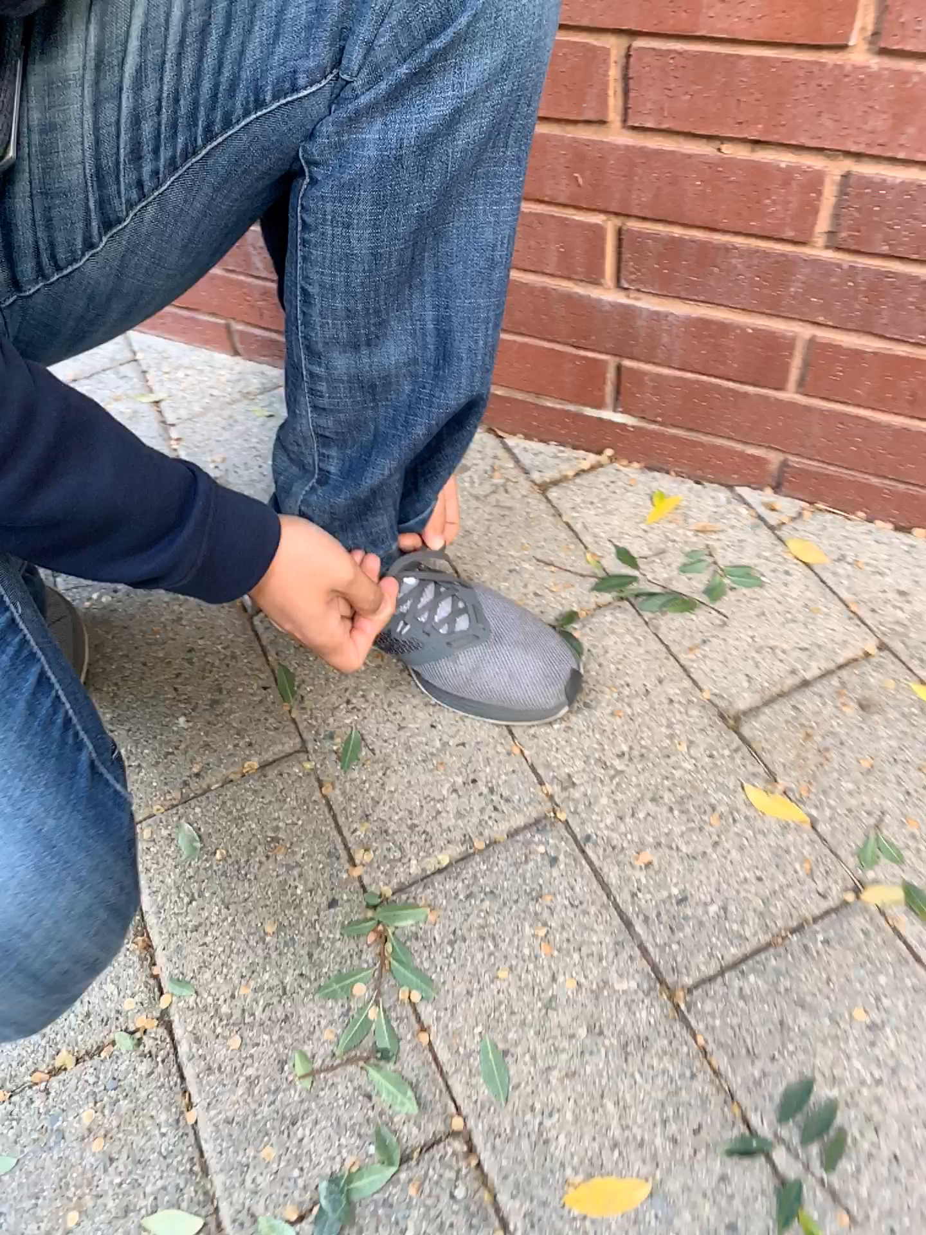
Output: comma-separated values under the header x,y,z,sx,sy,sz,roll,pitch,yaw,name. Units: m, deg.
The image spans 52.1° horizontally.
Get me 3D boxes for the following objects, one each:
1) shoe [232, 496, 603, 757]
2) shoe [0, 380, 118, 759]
x,y,z,sx,sy,sz,roll,pitch,yaw,name
-0.037,0.000,0.785,0.280,0.083,0.111,19,54,21,shoe
-0.400,-0.040,0.788,0.115,0.274,0.098,-17,9,-6,shoe
